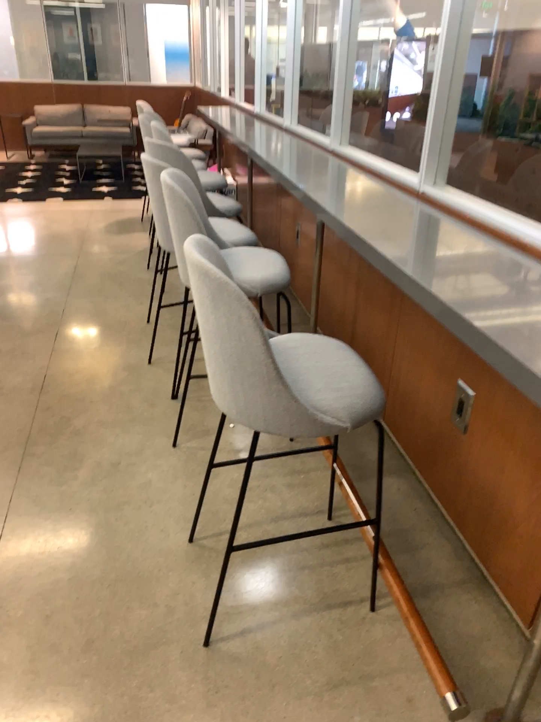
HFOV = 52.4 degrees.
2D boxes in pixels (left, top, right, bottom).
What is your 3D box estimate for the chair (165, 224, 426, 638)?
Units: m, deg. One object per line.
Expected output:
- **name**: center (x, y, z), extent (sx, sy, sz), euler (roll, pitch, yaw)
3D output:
- **chair**: center (0.021, 0.194, 1.555), extent (0.510, 1.034, 0.412), euler (-8, 29, -18)
